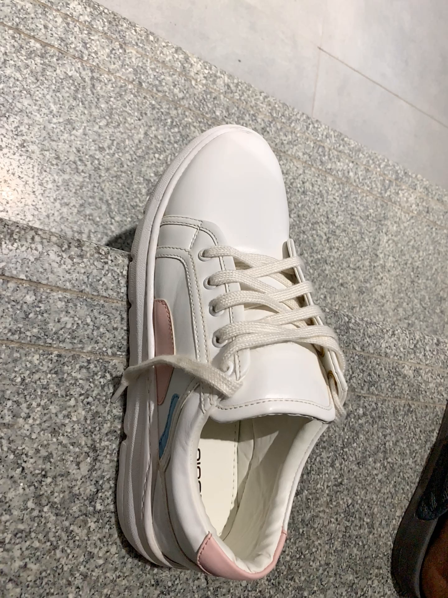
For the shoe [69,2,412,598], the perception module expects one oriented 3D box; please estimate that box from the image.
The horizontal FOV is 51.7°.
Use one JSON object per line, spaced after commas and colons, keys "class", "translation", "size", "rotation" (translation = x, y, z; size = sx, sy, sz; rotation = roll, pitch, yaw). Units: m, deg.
{"class": "shoe", "translation": [0.009, 0.025, 0.258], "size": [0.110, 0.110, 0.290], "rotation": [13, 81, -30]}
